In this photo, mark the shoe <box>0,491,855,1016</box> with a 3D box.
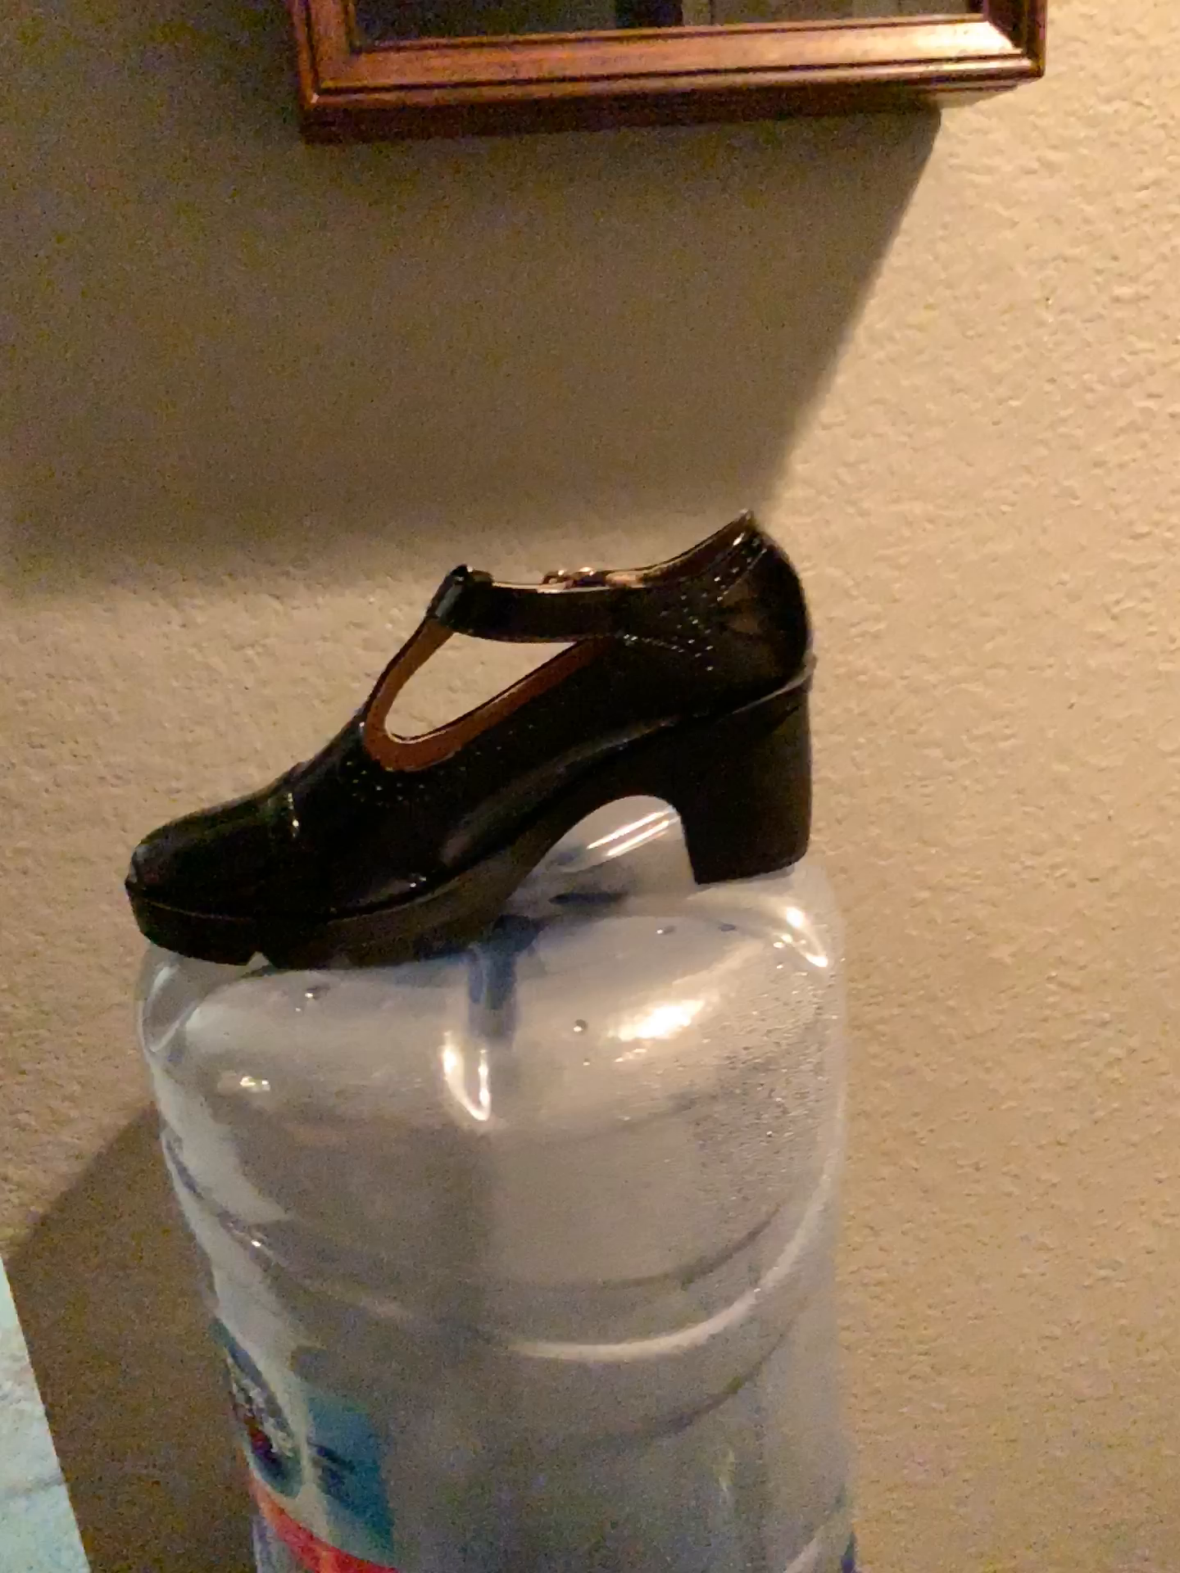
[{"bbox_3d":[-0.052,-0.022,0.452,0.250,0.120,0.130,-7,19,-6],"label":"shoe"}]
